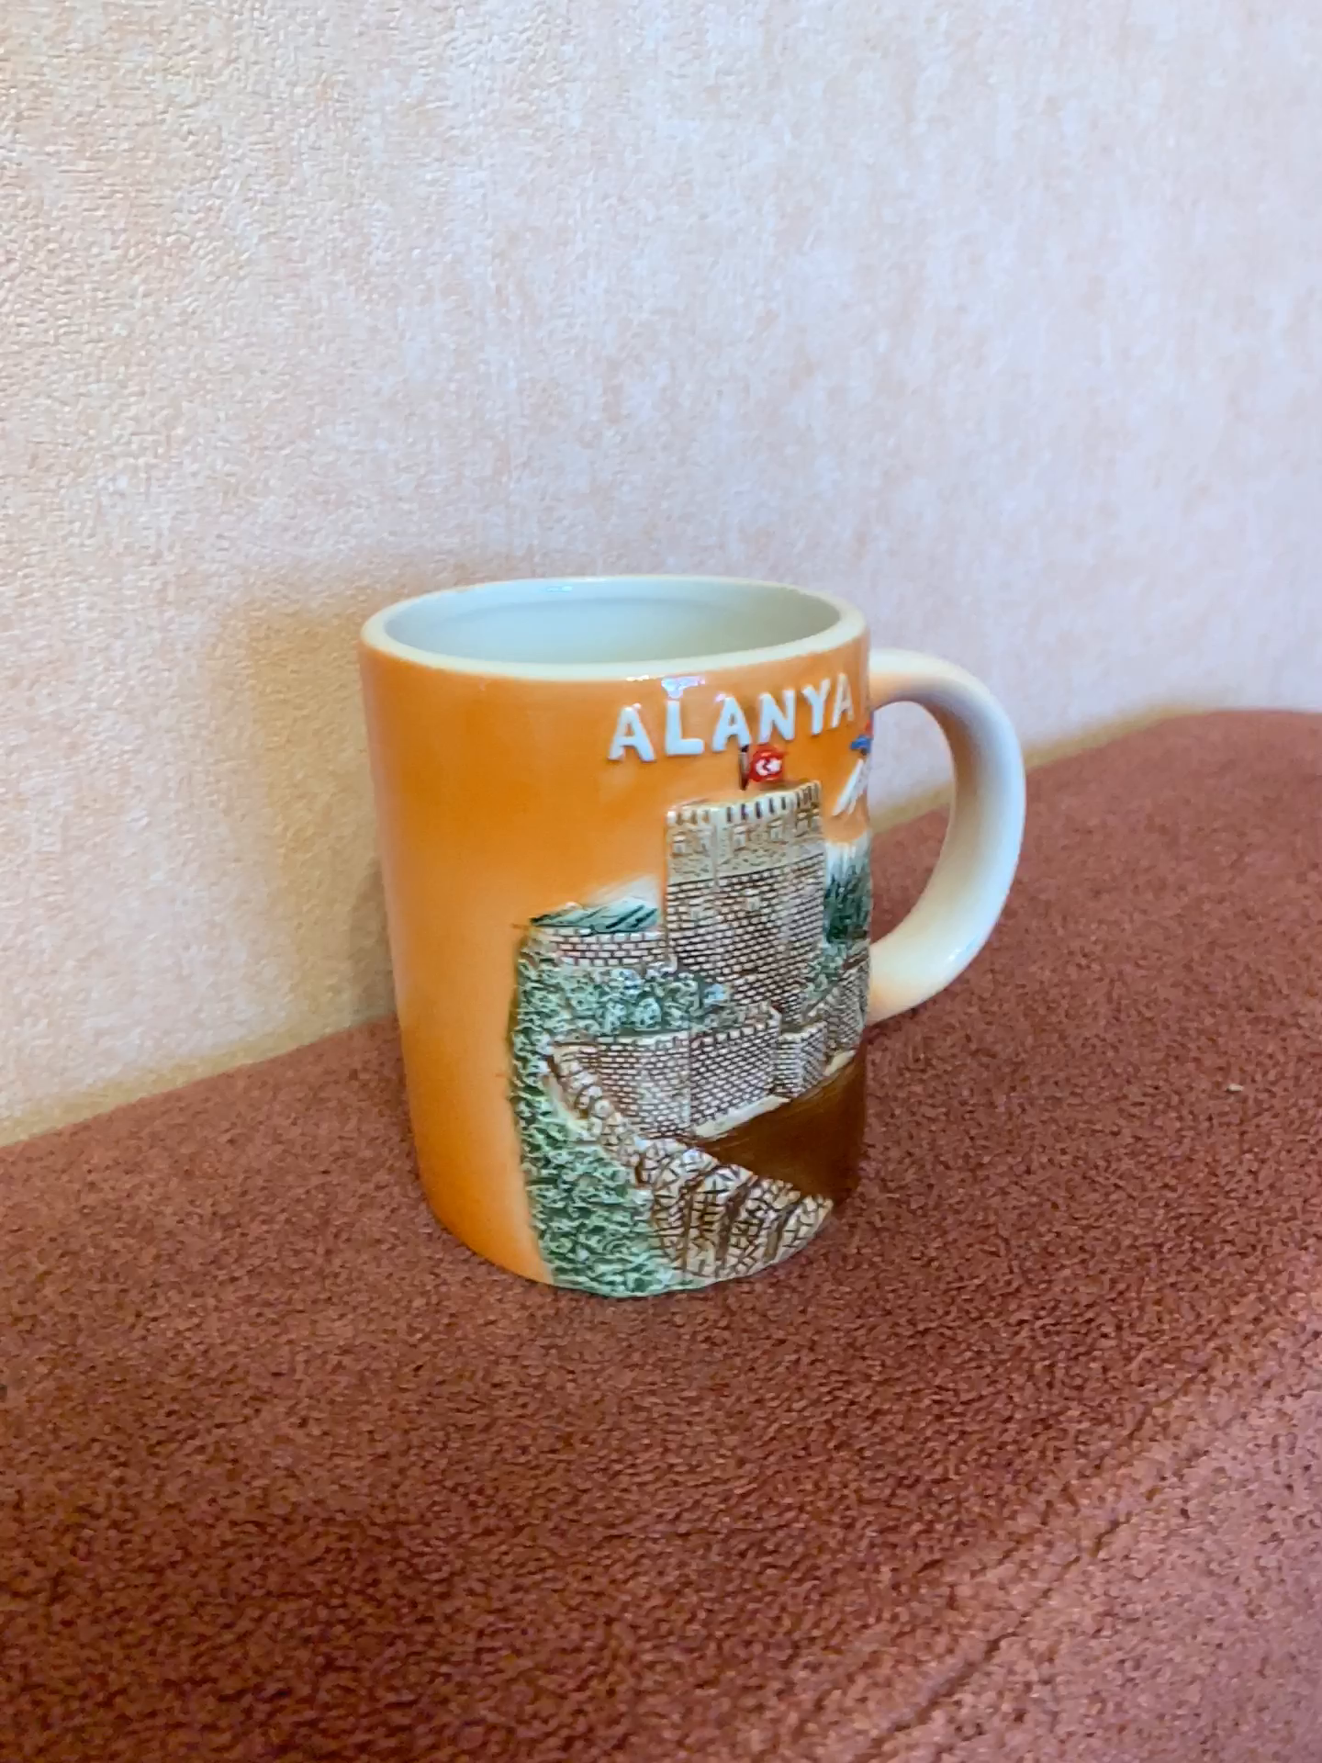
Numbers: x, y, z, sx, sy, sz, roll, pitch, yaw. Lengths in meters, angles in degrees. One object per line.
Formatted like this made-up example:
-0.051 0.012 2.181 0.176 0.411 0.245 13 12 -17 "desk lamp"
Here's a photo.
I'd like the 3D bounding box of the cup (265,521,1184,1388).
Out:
0.010 -0.001 0.242 0.120 0.098 0.088 -16 28 -29 "cup"
